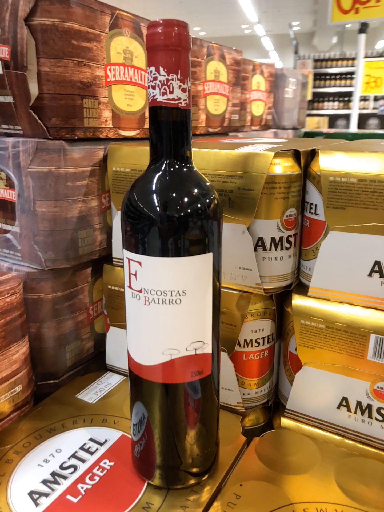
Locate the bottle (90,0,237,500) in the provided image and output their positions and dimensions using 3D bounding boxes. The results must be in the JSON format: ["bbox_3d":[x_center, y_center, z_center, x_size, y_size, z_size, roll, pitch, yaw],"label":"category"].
[{"bbox_3d":[-0.014,0.008,0.298,0.070,0.318,0.070,0,16,0],"label":"bottle"}]
